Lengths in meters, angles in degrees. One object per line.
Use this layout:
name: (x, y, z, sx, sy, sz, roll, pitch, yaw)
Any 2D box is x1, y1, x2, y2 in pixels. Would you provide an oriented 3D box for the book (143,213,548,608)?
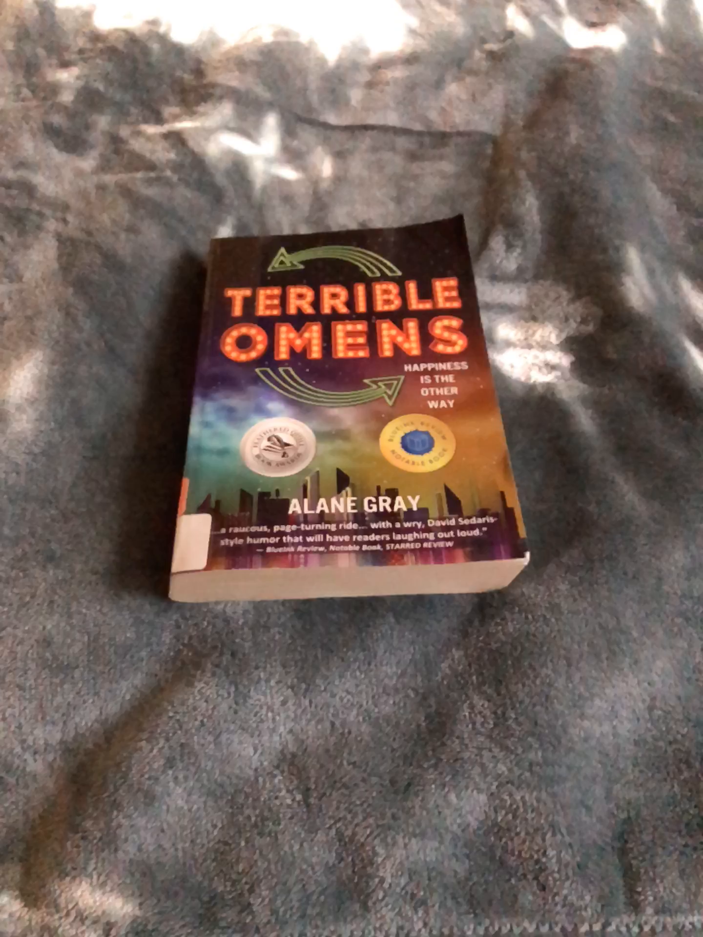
book: (-0.006, -0.038, 0.343, 0.140, 0.028, 0.200, -2, 52, -2)
